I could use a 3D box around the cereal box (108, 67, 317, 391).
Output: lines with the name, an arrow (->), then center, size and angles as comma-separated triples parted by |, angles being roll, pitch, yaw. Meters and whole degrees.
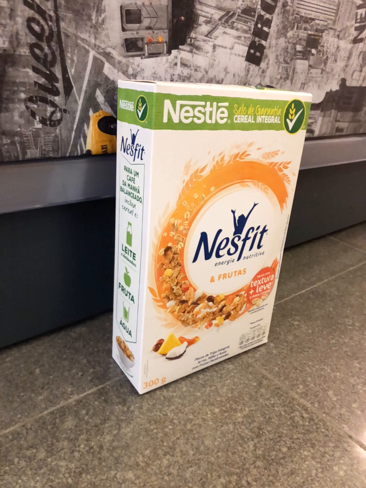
cereal box -> 0.018, -0.016, 0.362 | 0.150, 0.248, 0.070 | -11, 28, -34
